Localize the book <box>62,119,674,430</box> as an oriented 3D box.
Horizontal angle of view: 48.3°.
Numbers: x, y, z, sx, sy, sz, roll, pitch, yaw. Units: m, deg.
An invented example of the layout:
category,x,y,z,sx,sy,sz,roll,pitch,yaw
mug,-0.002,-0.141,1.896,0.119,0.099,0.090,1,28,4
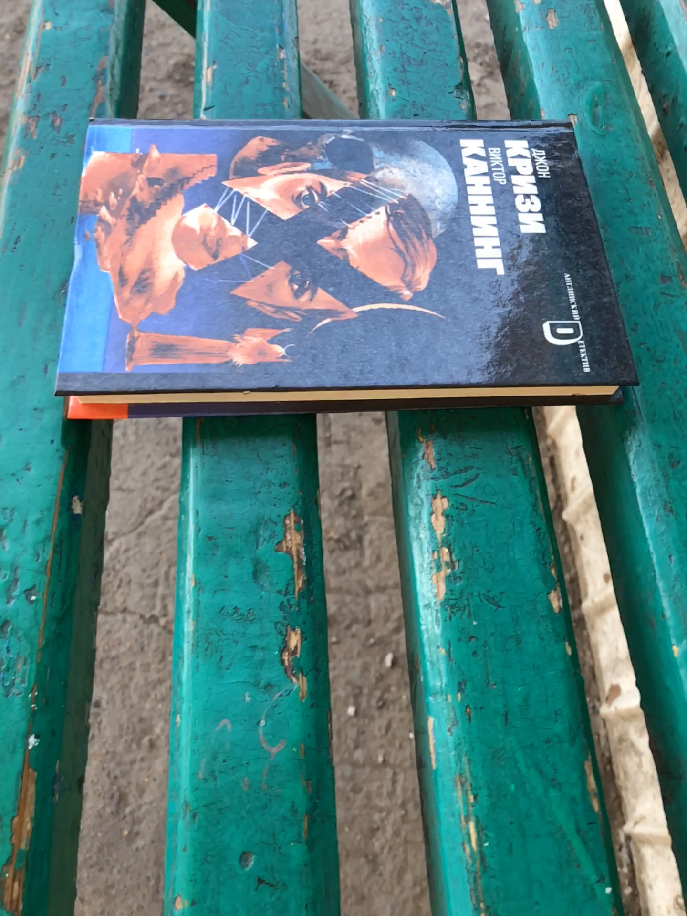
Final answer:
category,x,y,z,sx,sy,sz,roll,pitch,yaw
book,0.008,-0.076,0.301,0.211,0.020,0.135,-1,64,-3
